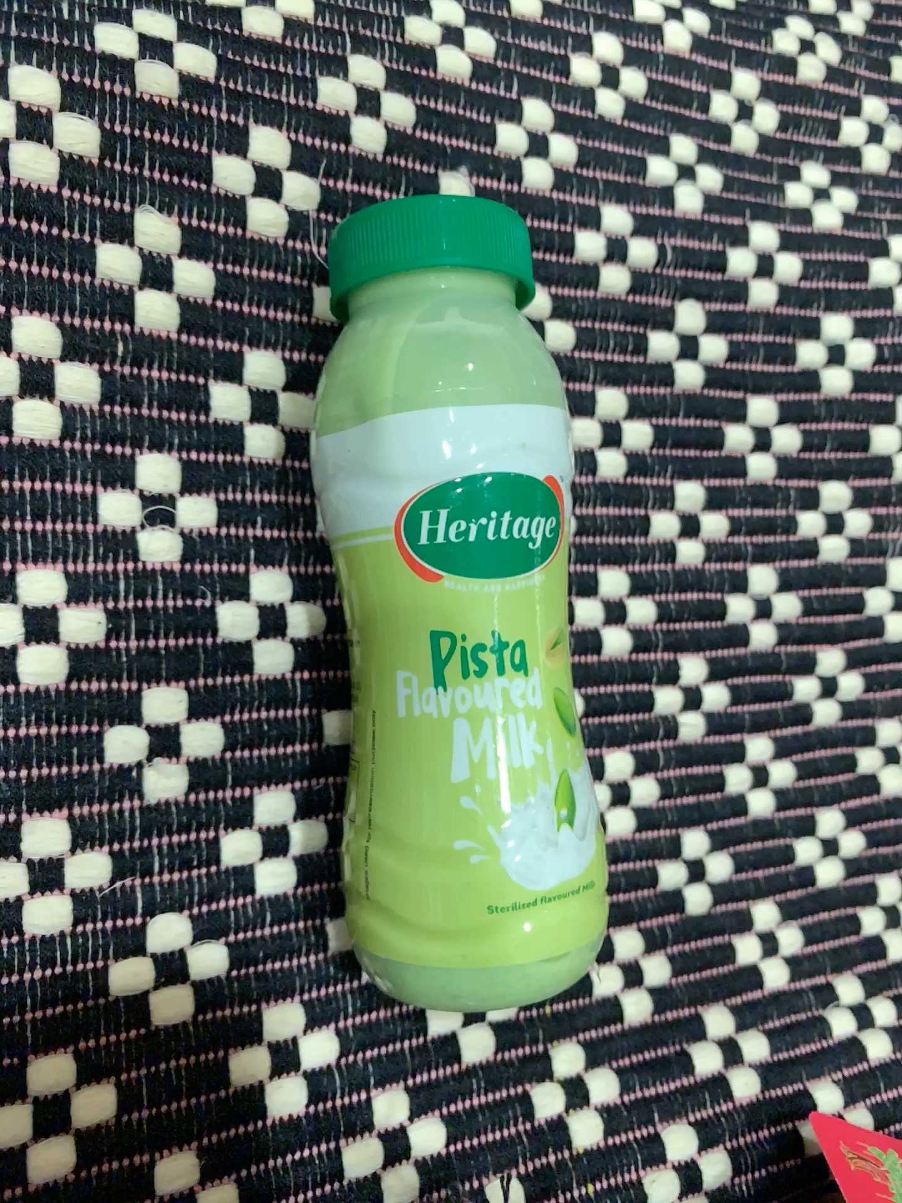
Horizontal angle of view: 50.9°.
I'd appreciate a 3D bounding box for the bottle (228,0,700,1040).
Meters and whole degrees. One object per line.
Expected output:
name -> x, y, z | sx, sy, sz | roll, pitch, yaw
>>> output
bottle -> -0.001, -0.013, 0.169 | 0.050, 0.050, 0.150 | -5, 87, -29
